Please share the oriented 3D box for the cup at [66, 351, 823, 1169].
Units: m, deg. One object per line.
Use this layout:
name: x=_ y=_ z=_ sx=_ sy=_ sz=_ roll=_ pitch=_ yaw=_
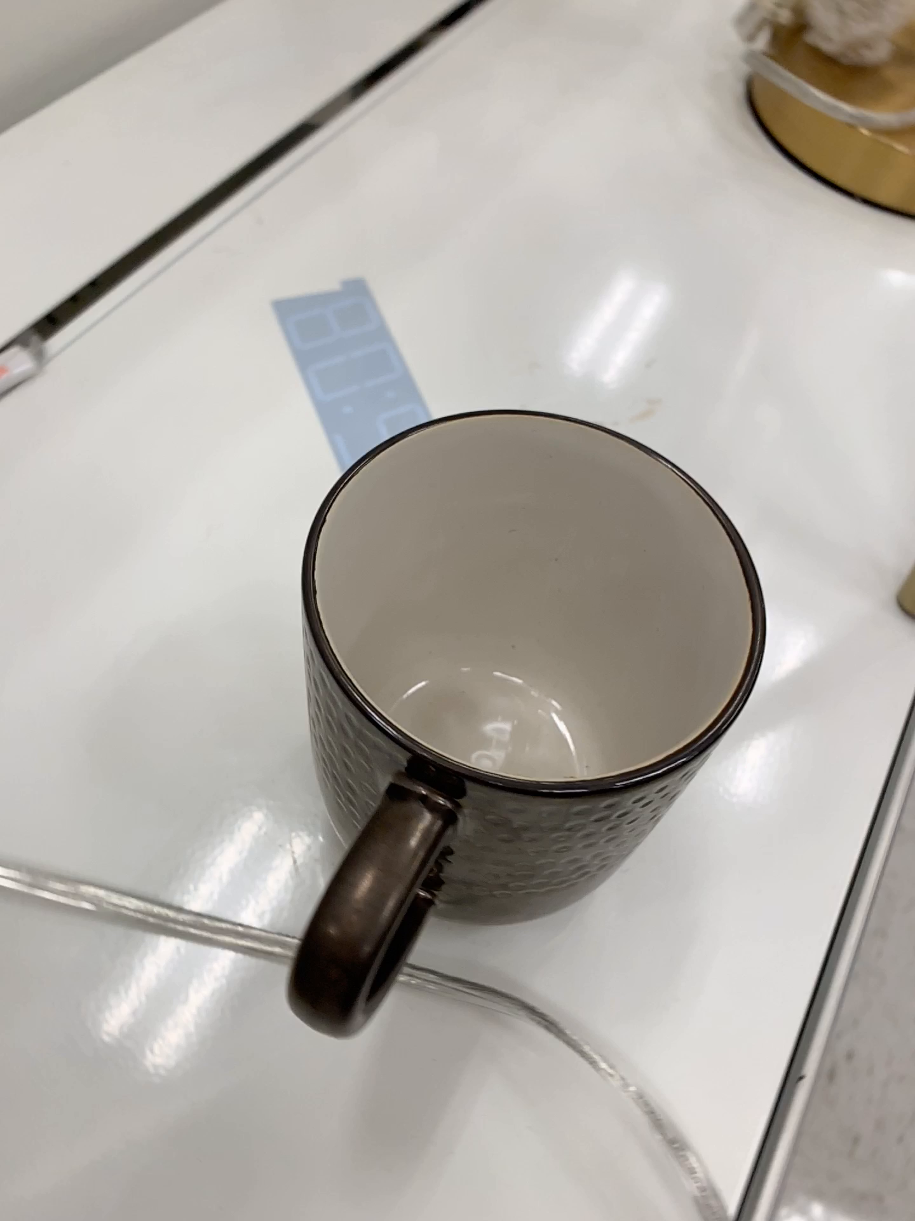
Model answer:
cup: x=0.003 y=0.033 z=0.218 sx=0.095 sy=0.093 sz=0.131 roll=25 pitch=57 yaw=9
